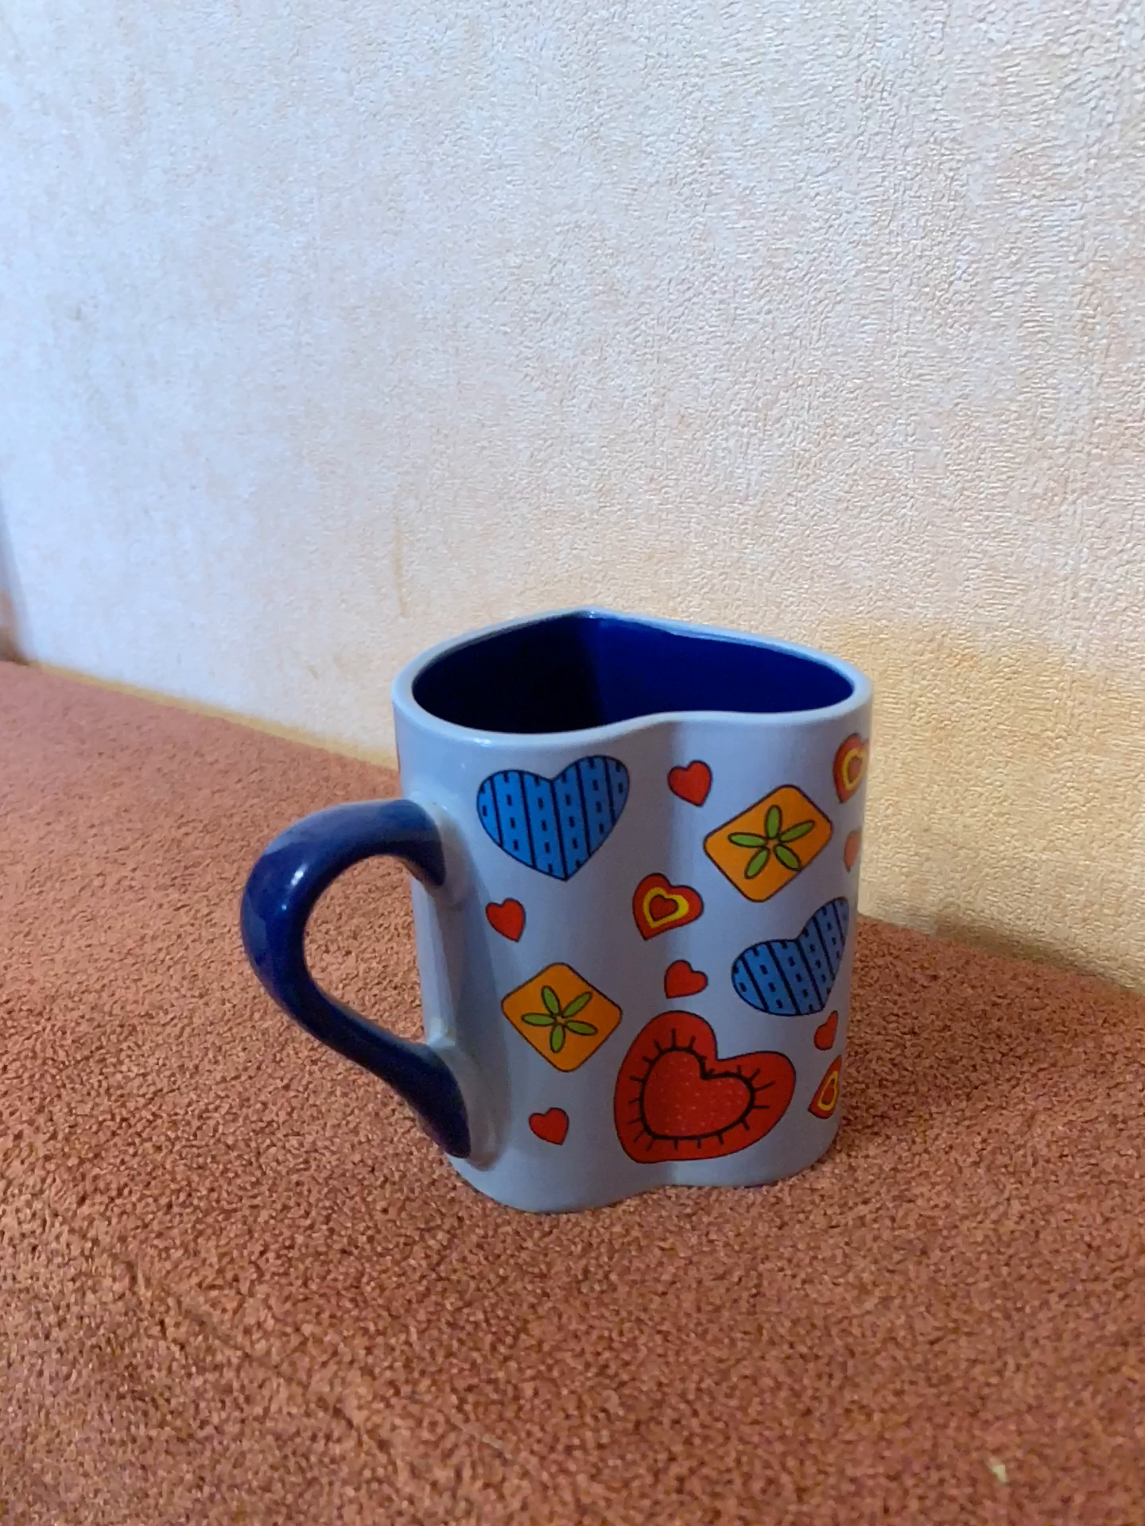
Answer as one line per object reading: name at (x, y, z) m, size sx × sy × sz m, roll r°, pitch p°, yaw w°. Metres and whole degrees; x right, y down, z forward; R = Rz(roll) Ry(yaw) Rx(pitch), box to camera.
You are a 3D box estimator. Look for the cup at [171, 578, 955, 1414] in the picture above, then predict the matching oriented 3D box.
cup at (0.002, 0.026, 0.214) m, size 0.088 × 0.090 × 0.098 m, roll 17°, pitch 29°, yaw 38°
